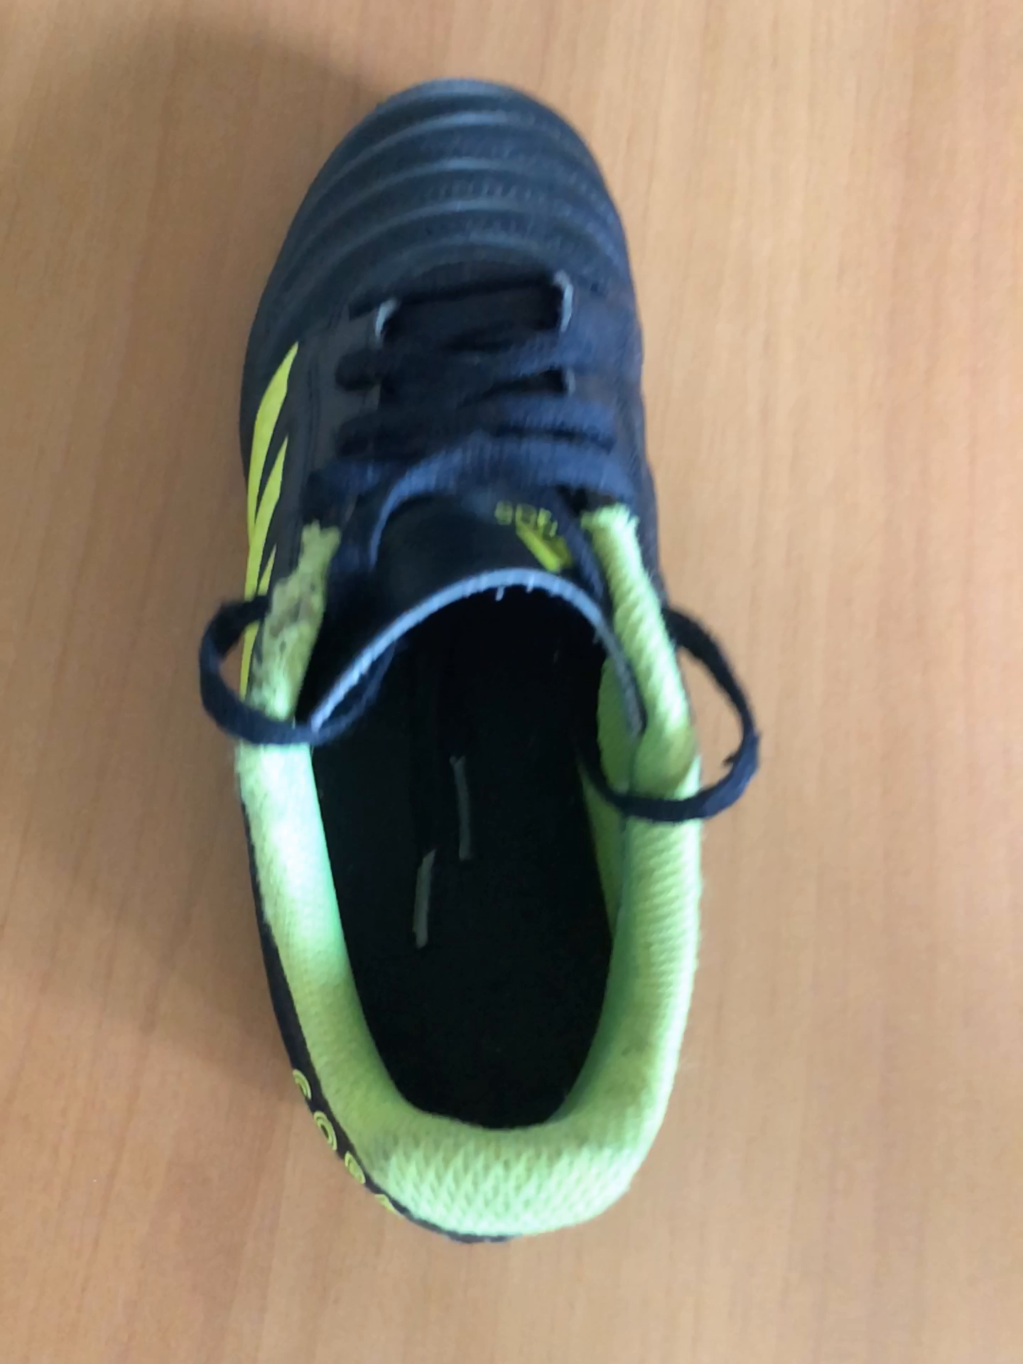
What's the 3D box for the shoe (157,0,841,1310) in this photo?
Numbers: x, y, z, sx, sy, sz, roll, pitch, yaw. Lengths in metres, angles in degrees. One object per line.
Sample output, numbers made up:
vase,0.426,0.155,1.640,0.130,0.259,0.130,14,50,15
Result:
shoe,-0.007,-0.020,0.214,0.090,0.090,0.220,-1,79,-4
